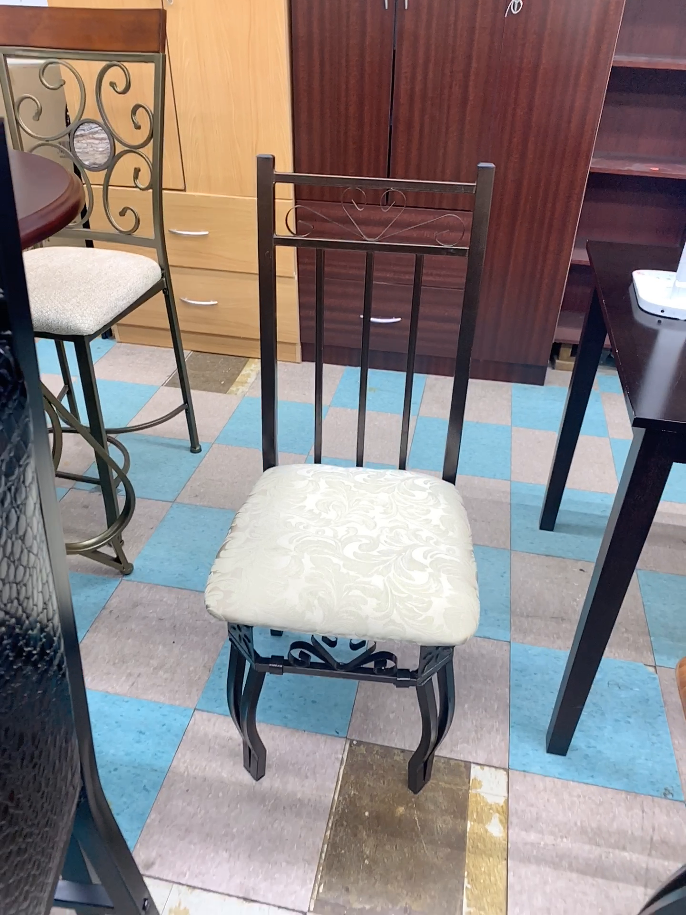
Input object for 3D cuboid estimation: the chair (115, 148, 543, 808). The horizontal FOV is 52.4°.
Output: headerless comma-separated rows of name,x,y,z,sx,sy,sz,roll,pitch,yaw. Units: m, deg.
chair,0.000,0.062,1.137,0.415,0.950,0.478,4,35,4
